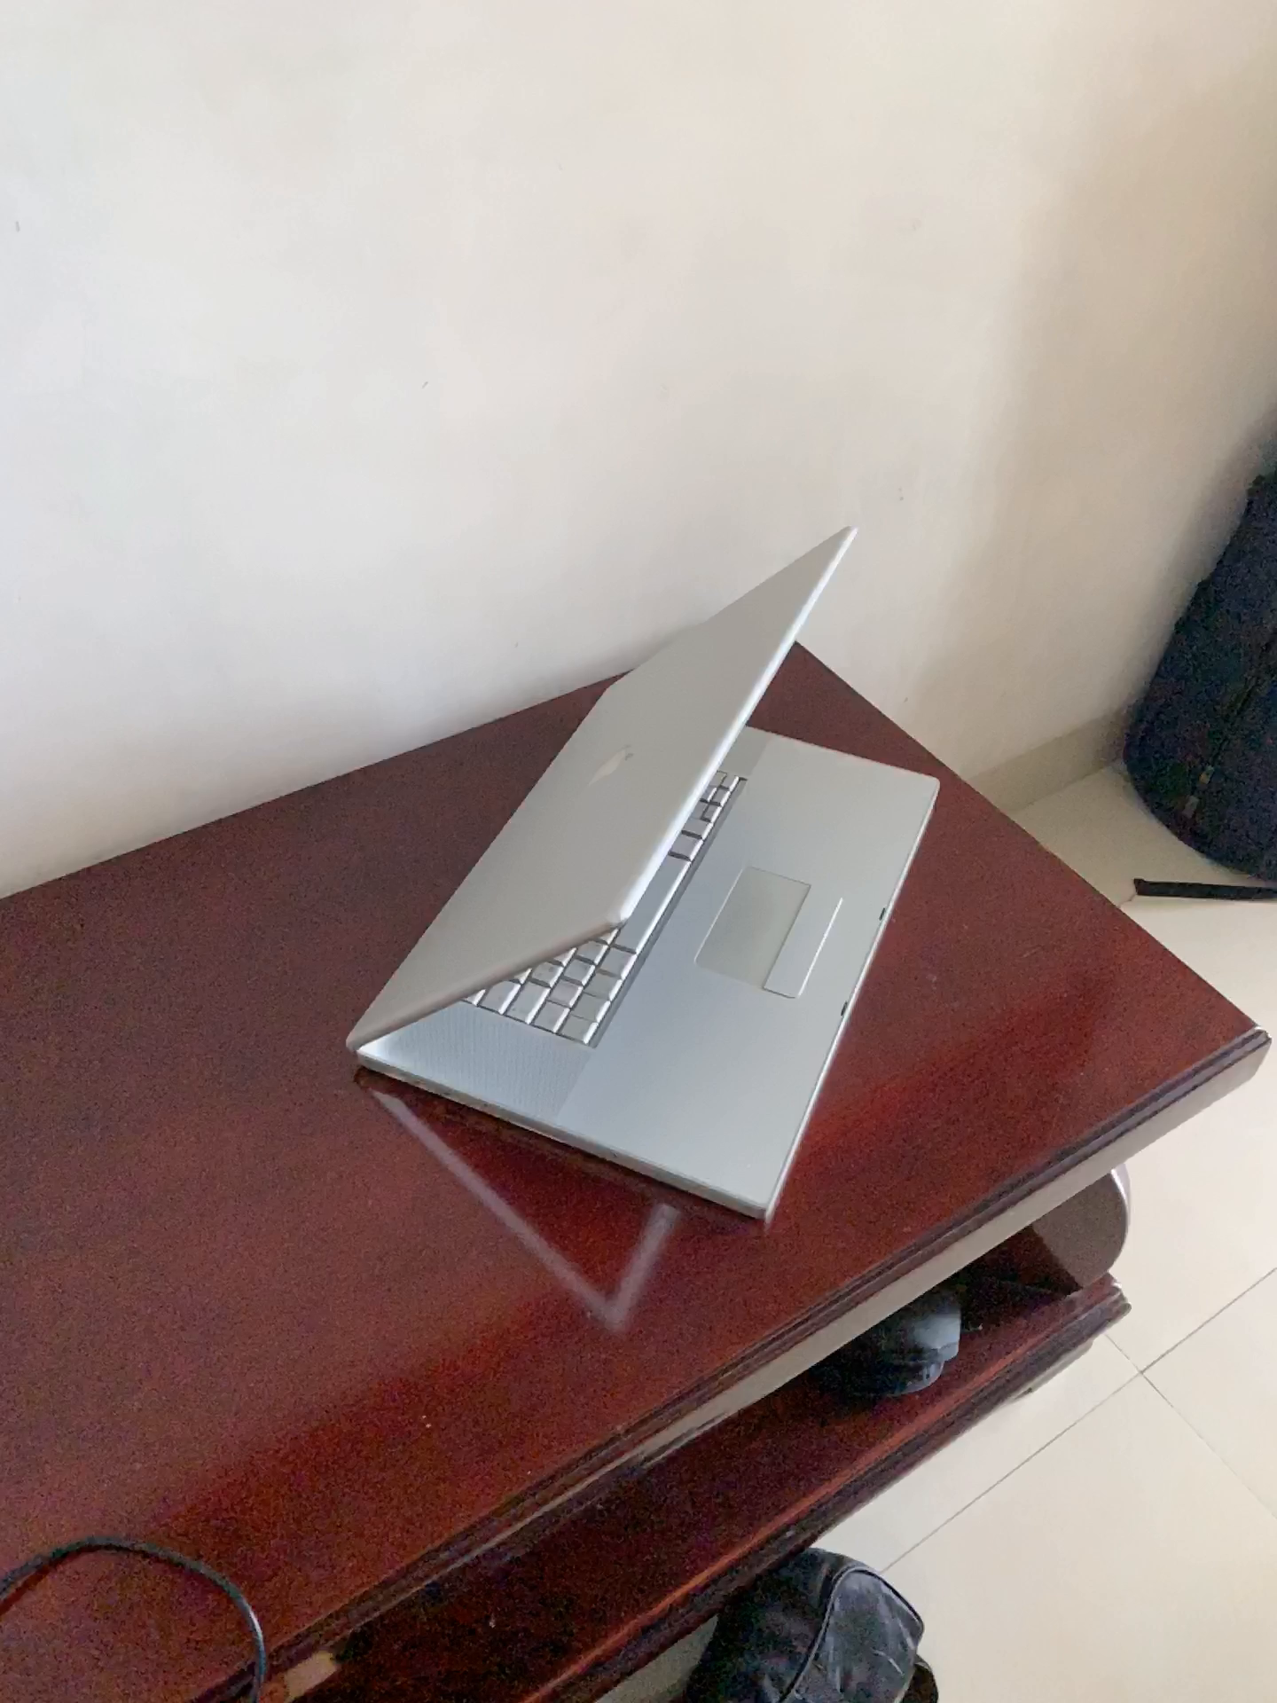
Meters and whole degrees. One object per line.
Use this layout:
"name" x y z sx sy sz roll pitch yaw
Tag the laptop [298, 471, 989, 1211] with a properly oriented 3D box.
"laptop" 0.029 -0.036 0.821 0.265 0.193 0.401 17 45 15
